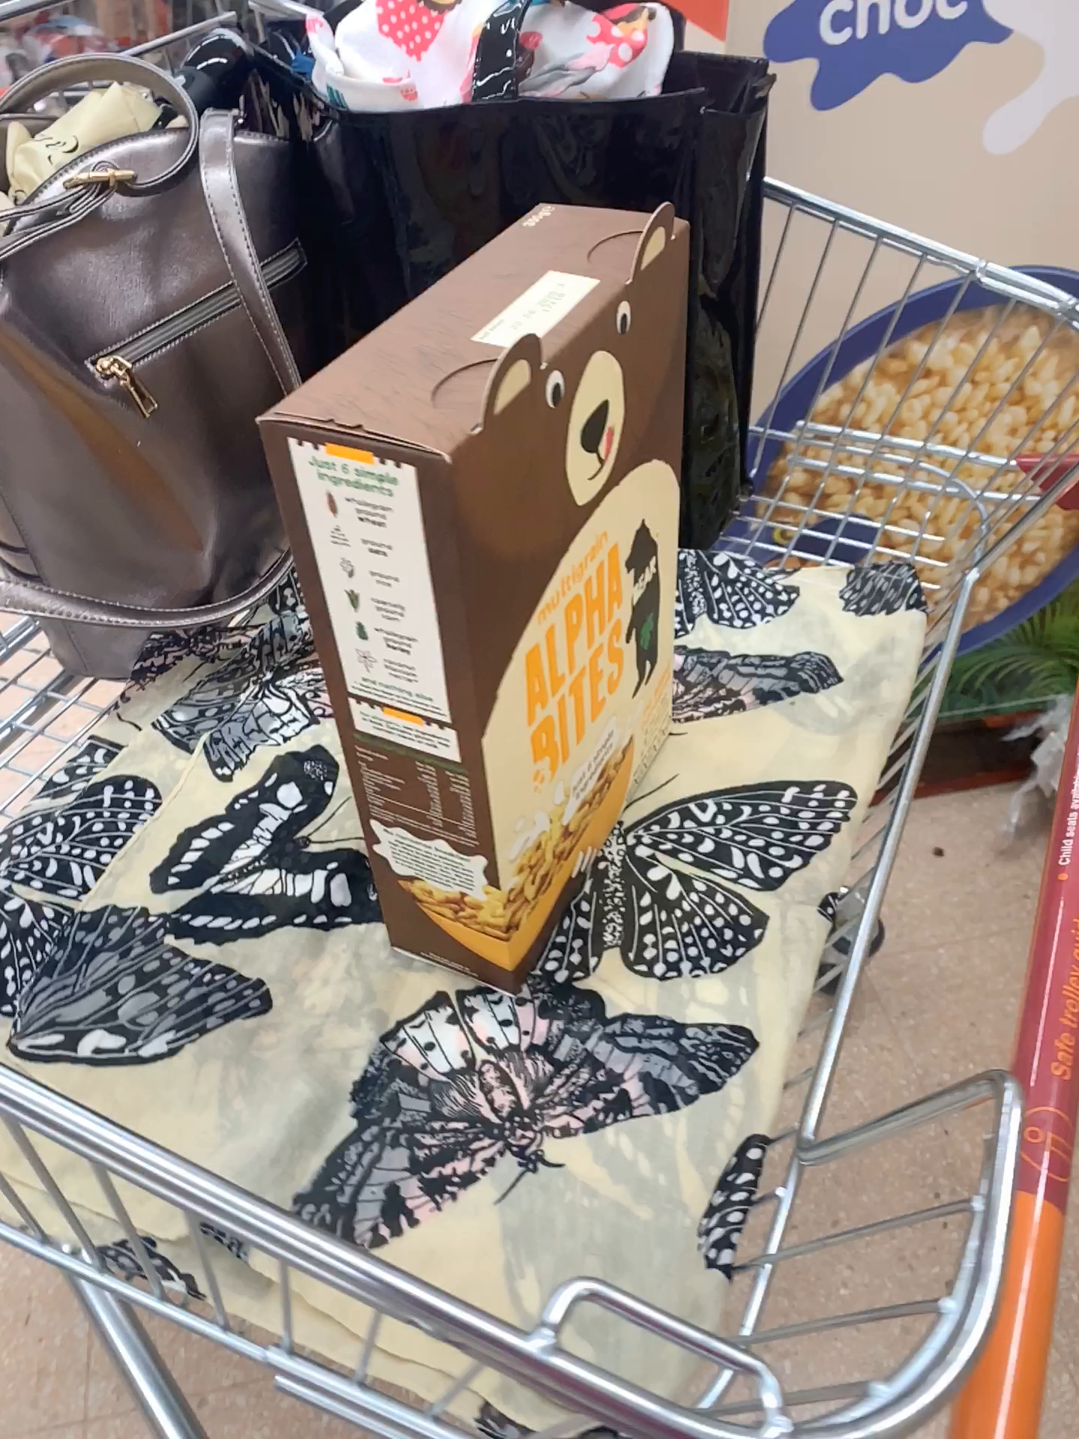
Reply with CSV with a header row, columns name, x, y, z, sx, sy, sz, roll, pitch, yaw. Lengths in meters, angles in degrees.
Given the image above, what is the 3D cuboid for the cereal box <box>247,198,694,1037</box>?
name,x,y,z,sx,sy,sz,roll,pitch,yaw
cereal box,-0.007,-0.037,0.485,0.070,0.297,0.202,16,45,20
